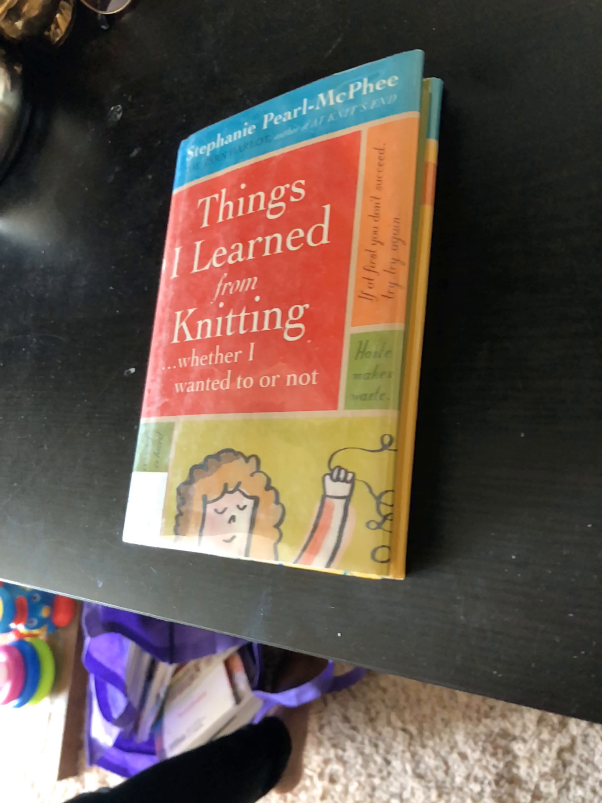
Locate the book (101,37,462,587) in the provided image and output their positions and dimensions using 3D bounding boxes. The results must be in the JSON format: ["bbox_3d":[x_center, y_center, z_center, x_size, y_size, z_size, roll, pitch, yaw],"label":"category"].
[{"bbox_3d":[-0.009,-0.028,0.236,0.118,0.023,0.166,-2,77,35],"label":"book"}]
